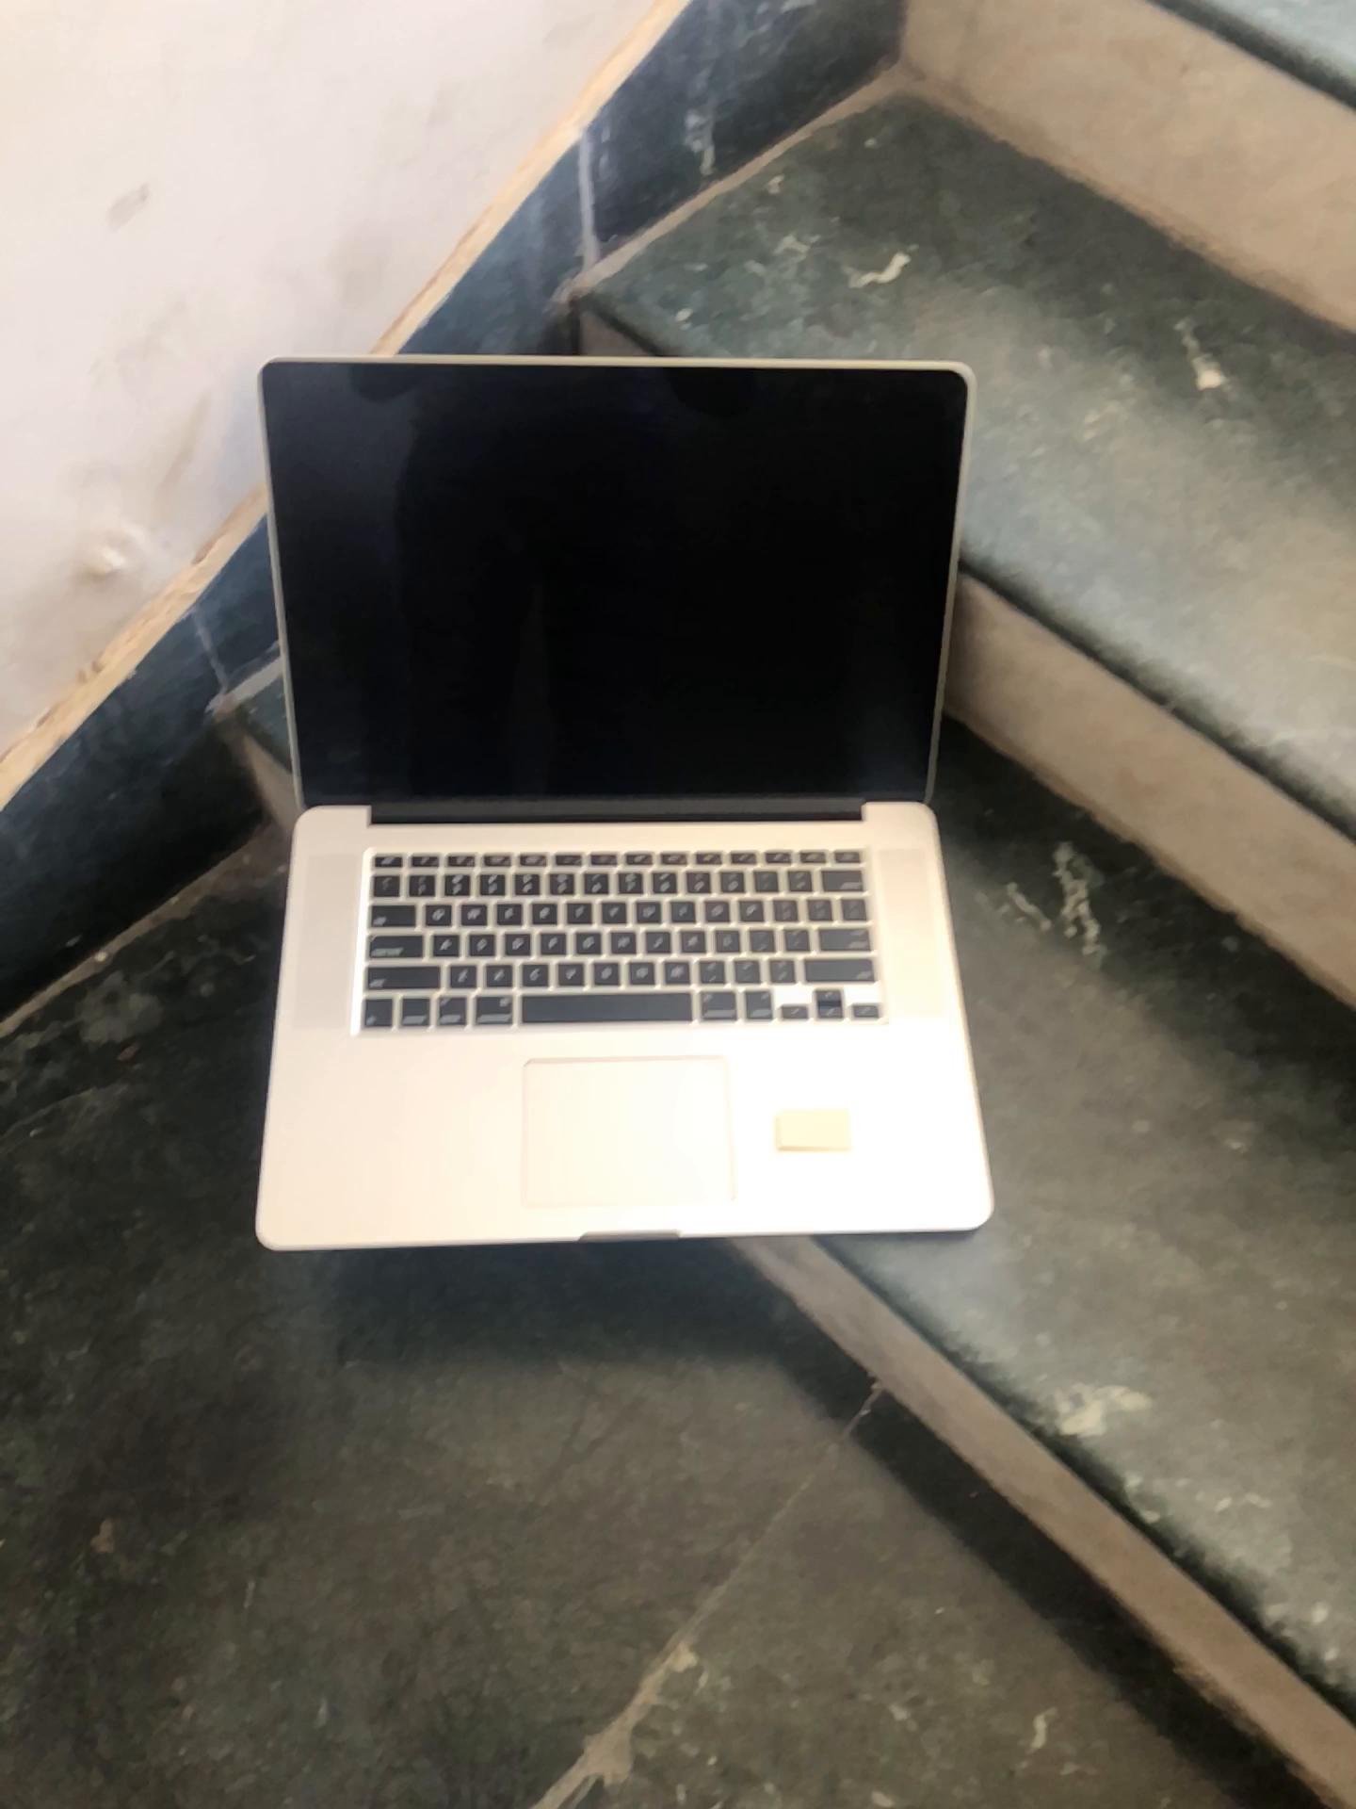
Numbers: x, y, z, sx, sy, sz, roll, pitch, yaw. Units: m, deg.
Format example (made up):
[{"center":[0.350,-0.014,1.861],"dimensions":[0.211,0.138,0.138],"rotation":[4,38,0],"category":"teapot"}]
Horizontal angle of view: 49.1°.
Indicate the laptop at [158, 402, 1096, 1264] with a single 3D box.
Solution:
[{"center":[-0.031,-0.040,0.716],"dimensions":[0.341,0.194,0.365],"rotation":[-1,60,-4],"category":"laptop"}]
